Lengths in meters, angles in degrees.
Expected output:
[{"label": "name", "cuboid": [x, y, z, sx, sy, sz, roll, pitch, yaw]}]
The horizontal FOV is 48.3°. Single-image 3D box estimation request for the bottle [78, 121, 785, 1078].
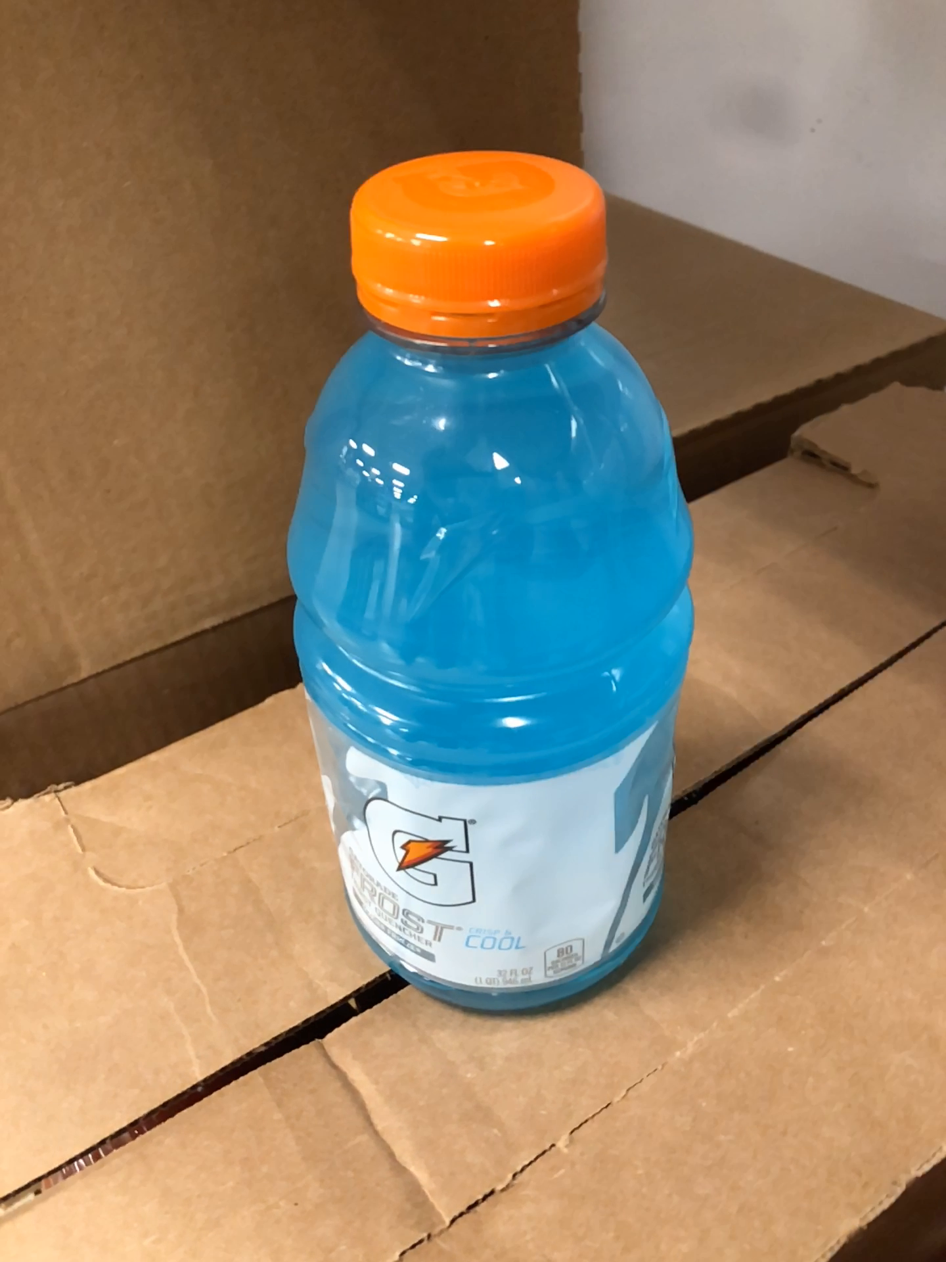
[{"label": "bottle", "cuboid": [0.003, -0.002, 0.255, 0.100, 0.199, 0.090, 13, 42, 21]}]
